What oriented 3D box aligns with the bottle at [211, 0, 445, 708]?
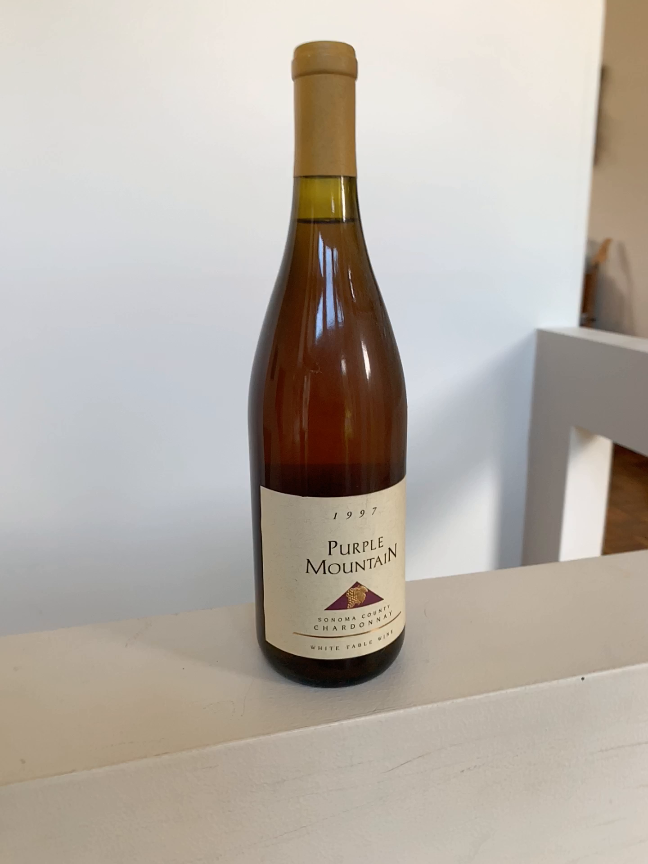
[{"bbox_3d":[0.000,-0.030,0.336,0.080,0.309,0.080,-1,15,0],"label":"bottle"}]
